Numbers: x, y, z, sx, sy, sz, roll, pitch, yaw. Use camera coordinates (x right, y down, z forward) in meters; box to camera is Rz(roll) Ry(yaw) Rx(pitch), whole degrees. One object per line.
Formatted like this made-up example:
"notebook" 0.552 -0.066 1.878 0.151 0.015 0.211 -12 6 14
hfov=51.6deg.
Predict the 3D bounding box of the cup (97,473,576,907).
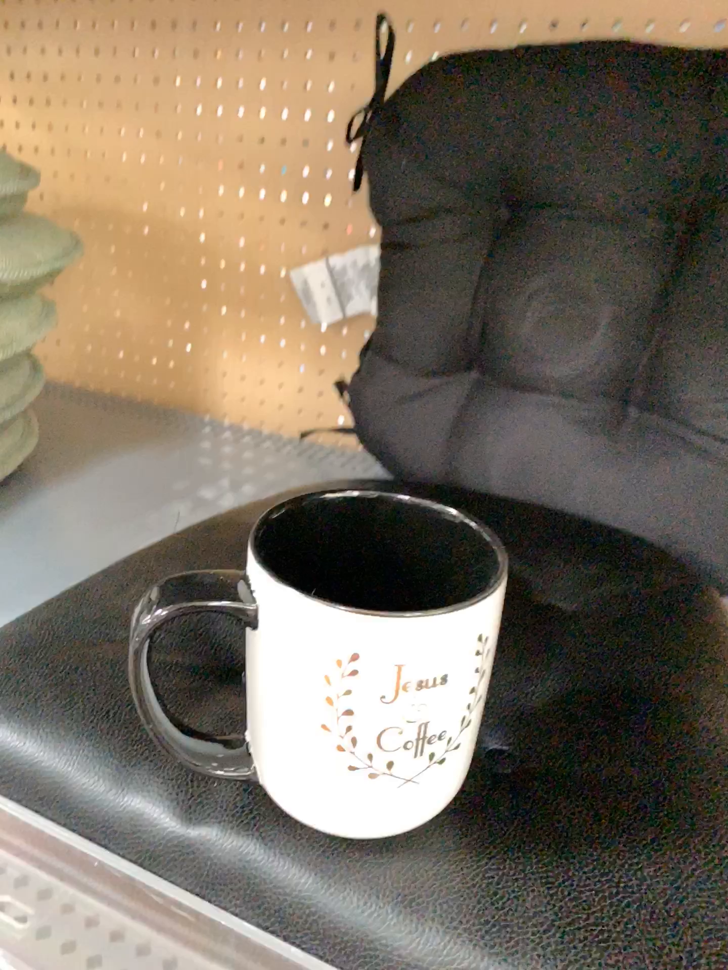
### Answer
"cup" -0.017 0.065 0.284 0.142 0.104 0.102 -2 23 -13
